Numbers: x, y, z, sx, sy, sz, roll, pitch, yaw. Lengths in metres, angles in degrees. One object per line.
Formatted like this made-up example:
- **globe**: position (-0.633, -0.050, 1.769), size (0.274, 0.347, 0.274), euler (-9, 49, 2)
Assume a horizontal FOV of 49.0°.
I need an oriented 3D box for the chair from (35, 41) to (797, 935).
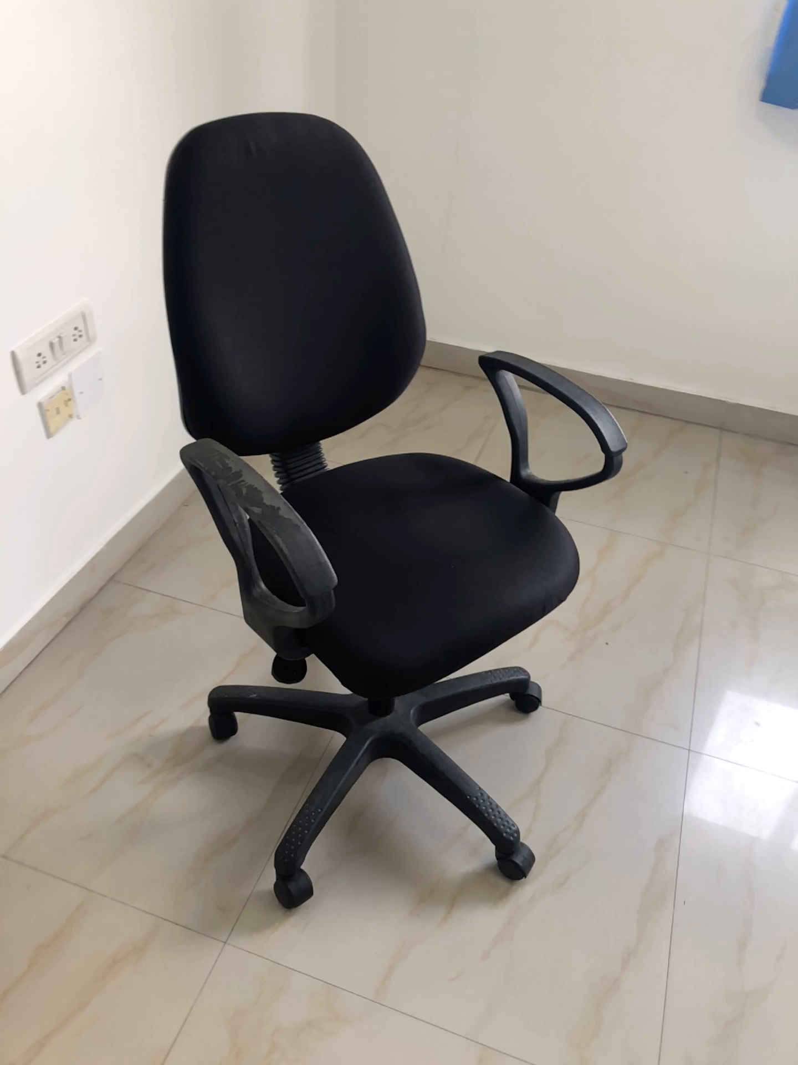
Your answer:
- **chair**: position (0.052, -0.121, 1.251), size (0.672, 0.884, 0.683), euler (33, 46, 32)
